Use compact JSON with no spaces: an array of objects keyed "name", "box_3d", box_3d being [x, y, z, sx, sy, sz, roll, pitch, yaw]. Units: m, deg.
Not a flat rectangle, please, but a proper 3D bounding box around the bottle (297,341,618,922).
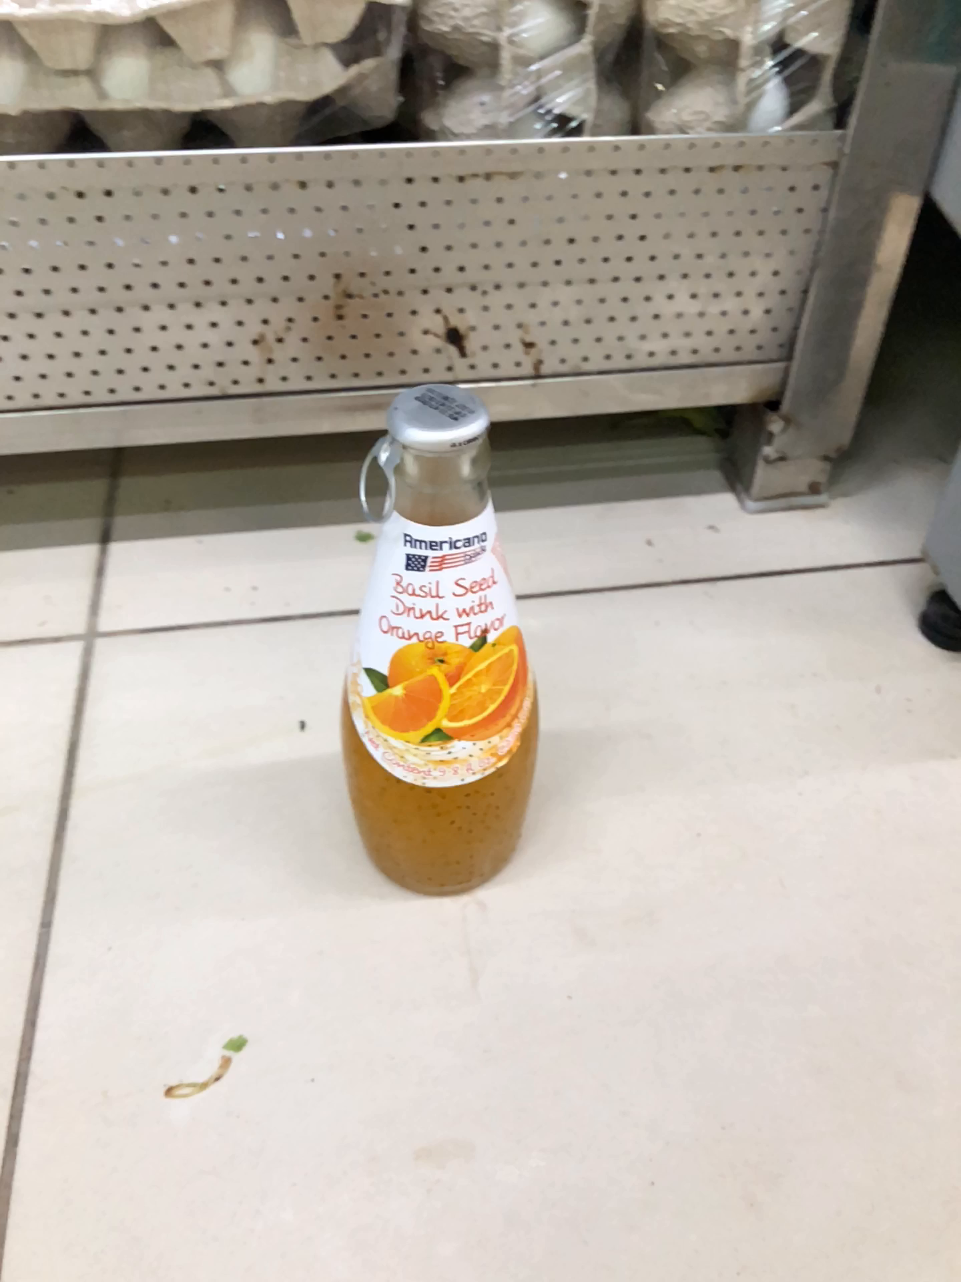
[{"name":"bottle","box_3d":[-0.010,0.004,0.336,0.070,0.169,0.070,0,42,0]}]
